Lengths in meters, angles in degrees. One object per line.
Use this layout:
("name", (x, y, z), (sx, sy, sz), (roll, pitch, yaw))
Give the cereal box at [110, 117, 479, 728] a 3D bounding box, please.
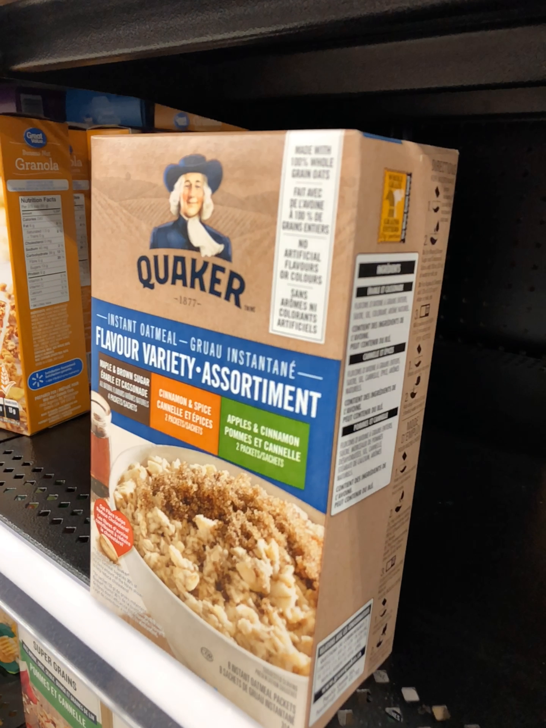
("cereal box", (-0.003, 0.020, 0.241), (0.120, 0.209, 0.060), (14, 17, 36))
